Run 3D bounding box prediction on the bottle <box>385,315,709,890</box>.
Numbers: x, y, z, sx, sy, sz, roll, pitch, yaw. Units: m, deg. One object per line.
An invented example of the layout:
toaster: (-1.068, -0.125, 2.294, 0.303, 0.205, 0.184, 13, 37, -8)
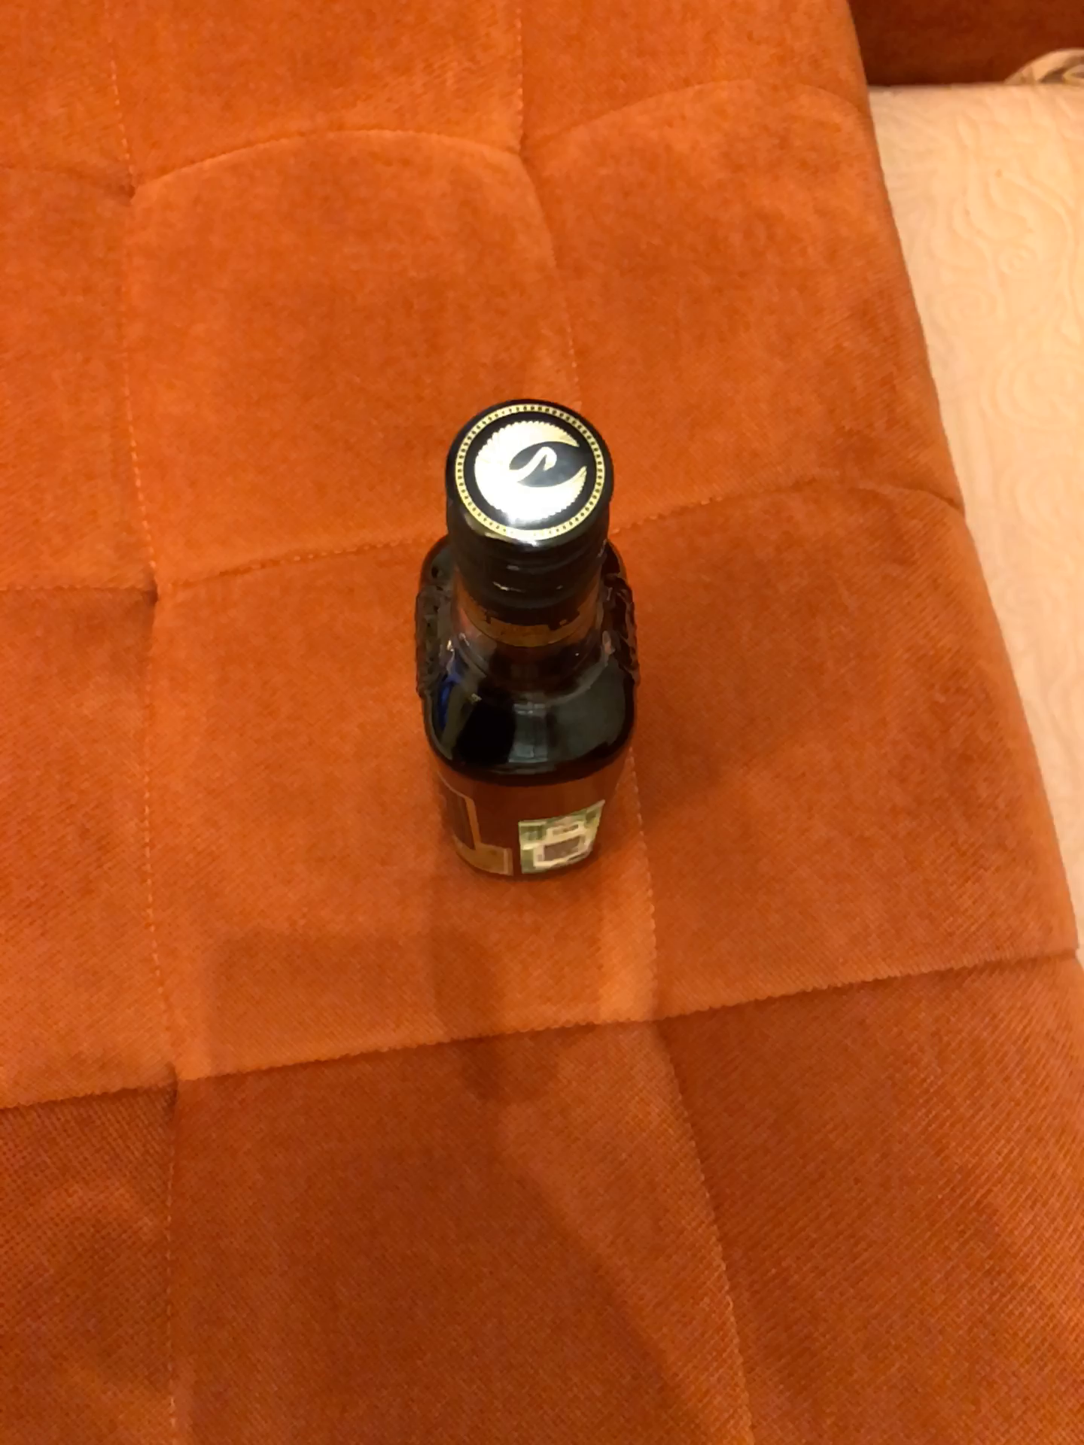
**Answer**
bottle: (-0.003, -0.009, 0.339, 0.056, 0.238, 0.074, -3, 73, -2)
